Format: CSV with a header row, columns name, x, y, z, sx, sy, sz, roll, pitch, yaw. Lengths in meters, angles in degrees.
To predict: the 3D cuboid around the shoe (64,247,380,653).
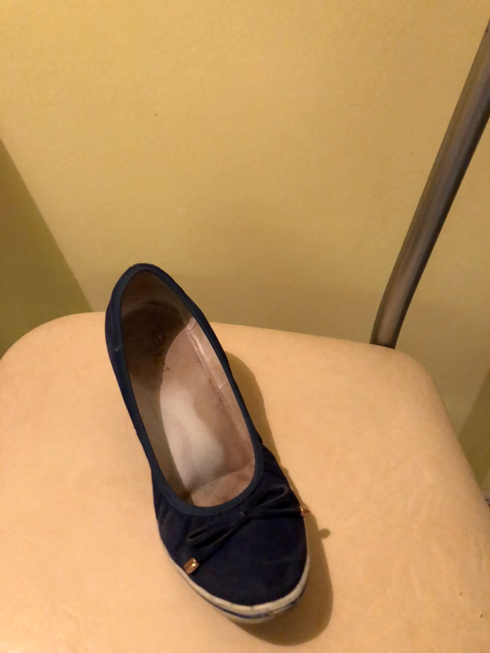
name,x,y,z,sx,sy,sz,roll,pitch,yaw
shoe,-0.034,0.063,0.355,0.090,0.099,0.251,-18,45,-21
